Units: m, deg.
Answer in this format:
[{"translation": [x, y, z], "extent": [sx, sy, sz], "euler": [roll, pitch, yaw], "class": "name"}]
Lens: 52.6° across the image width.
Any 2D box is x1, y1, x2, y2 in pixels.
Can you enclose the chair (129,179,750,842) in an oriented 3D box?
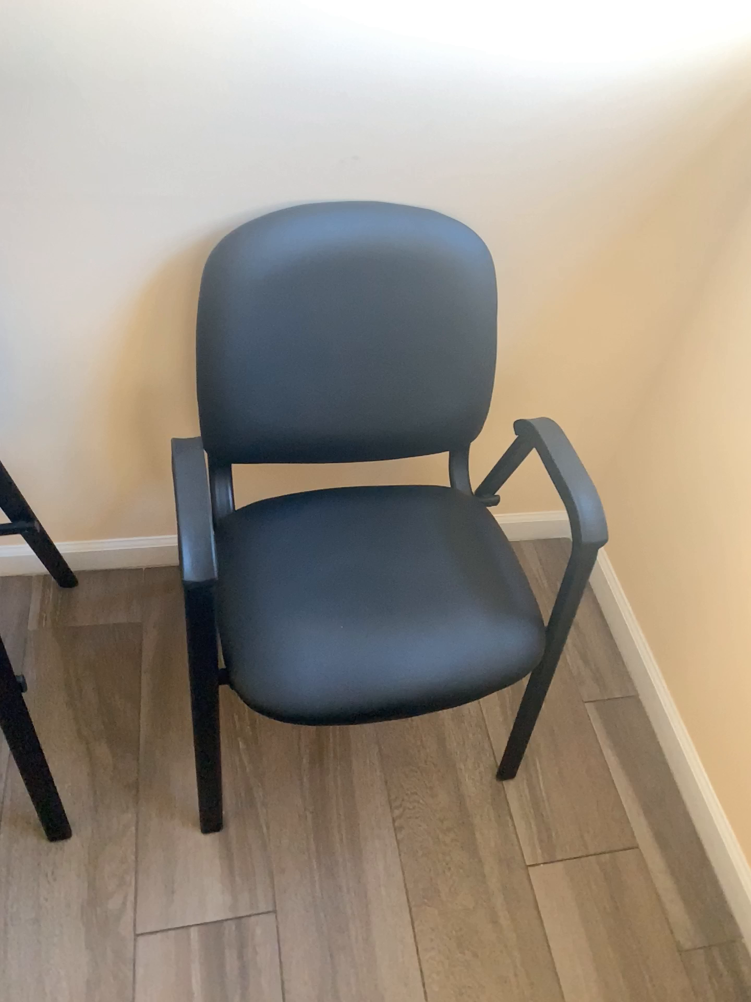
[{"translation": [-0.017, 0.047, 1.222], "extent": [0.635, 0.848, 0.591], "euler": [-4, 50, -14], "class": "chair"}]
